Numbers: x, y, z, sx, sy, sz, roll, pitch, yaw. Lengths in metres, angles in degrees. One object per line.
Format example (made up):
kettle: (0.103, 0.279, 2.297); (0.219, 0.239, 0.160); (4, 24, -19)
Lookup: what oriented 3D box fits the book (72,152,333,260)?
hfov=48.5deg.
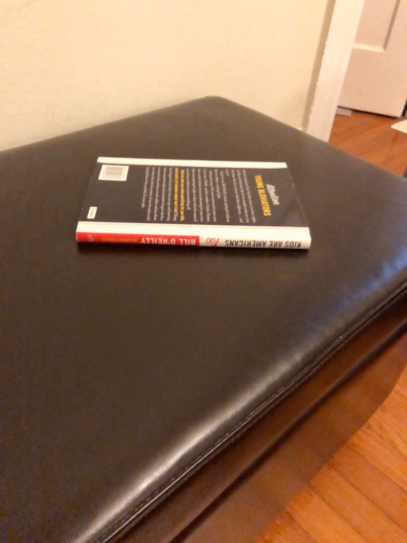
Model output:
book: (-0.003, -0.073, 0.463); (0.230, 0.020, 0.161); (1, 41, -5)
